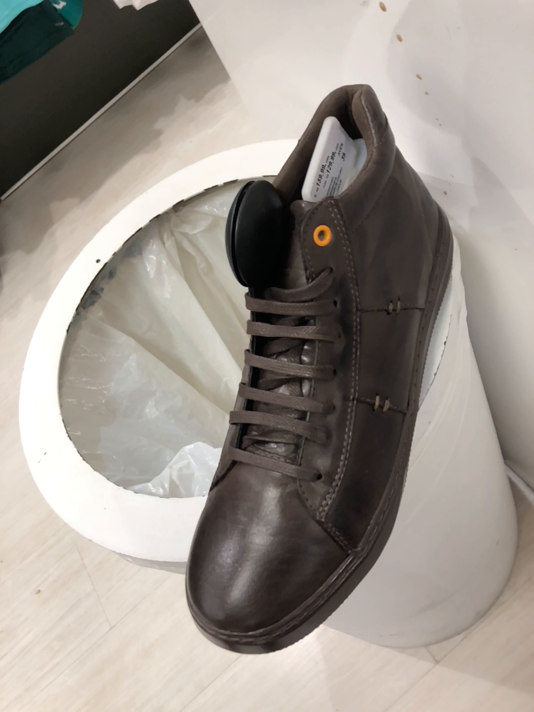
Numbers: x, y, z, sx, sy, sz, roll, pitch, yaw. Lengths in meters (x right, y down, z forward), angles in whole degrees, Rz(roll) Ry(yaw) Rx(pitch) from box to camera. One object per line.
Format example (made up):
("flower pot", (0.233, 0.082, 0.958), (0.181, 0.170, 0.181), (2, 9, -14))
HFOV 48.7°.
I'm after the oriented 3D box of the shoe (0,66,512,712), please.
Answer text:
("shoe", (0.019, 0.010, 0.302), (0.120, 0.139, 0.270), (14, 69, 32))
